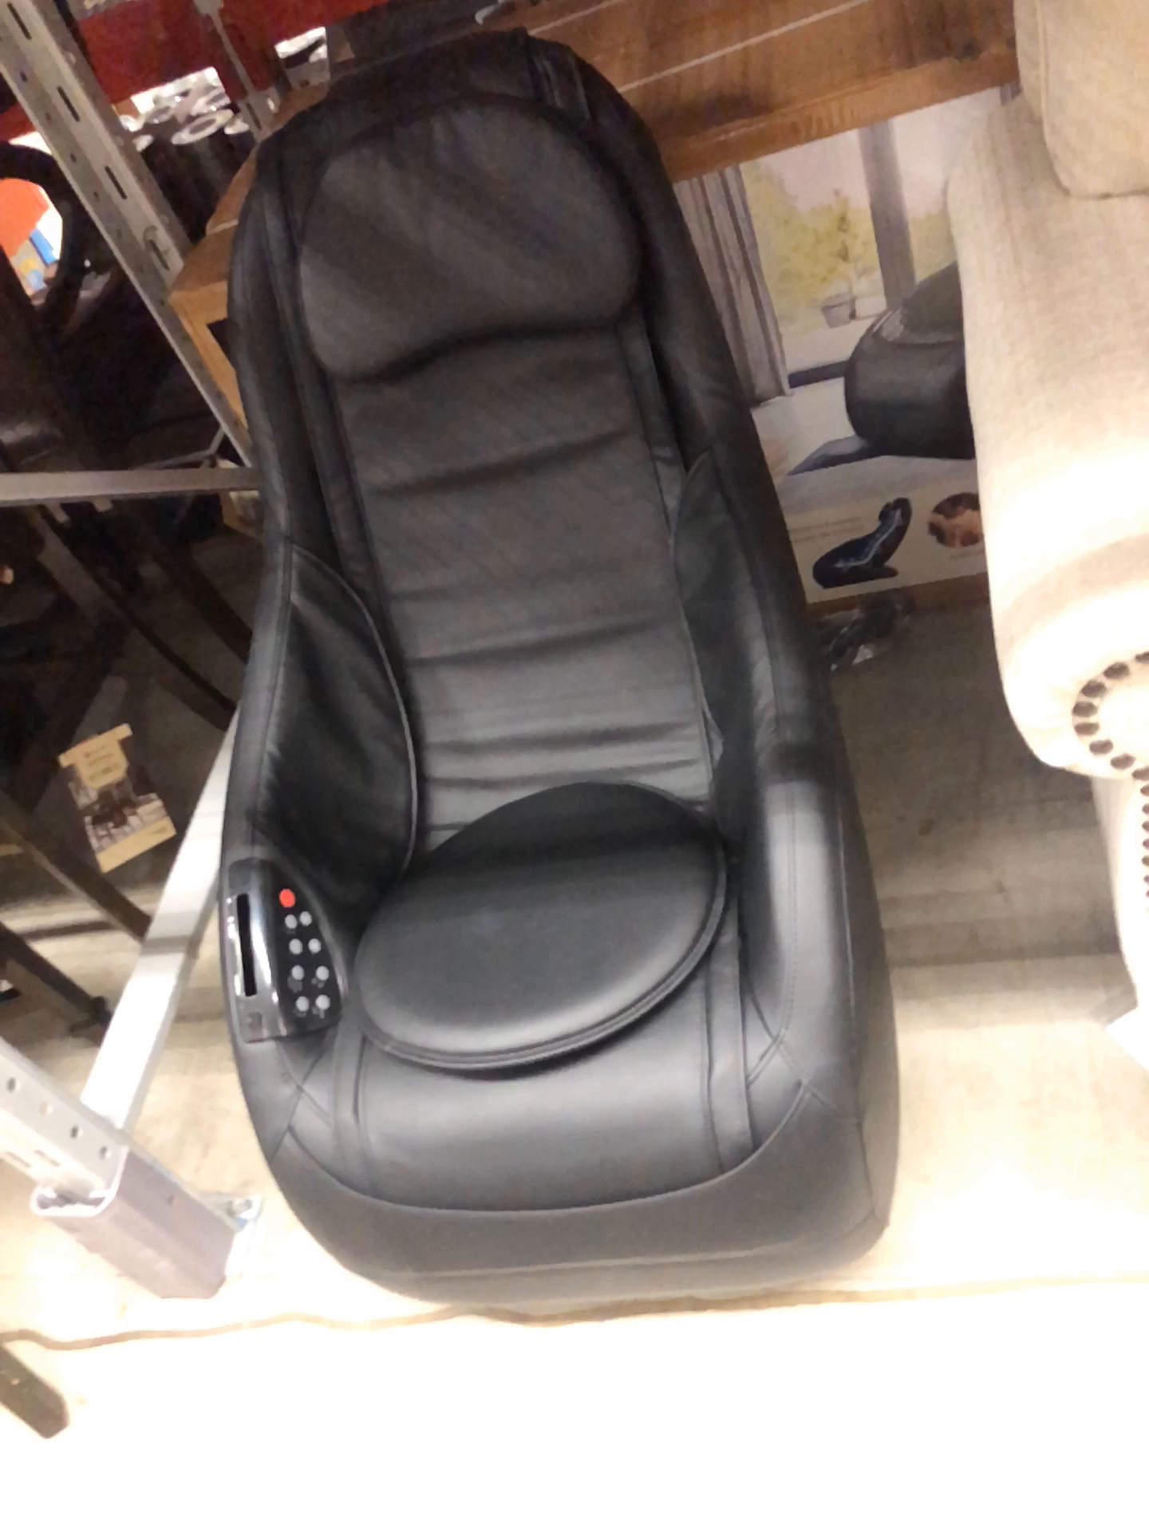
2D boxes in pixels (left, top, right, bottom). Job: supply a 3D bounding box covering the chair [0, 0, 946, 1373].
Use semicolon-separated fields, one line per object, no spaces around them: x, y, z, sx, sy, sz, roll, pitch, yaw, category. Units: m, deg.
-0.135;-0.027;1.036;0.650;0.848;0.701;-12;45;16;chair
